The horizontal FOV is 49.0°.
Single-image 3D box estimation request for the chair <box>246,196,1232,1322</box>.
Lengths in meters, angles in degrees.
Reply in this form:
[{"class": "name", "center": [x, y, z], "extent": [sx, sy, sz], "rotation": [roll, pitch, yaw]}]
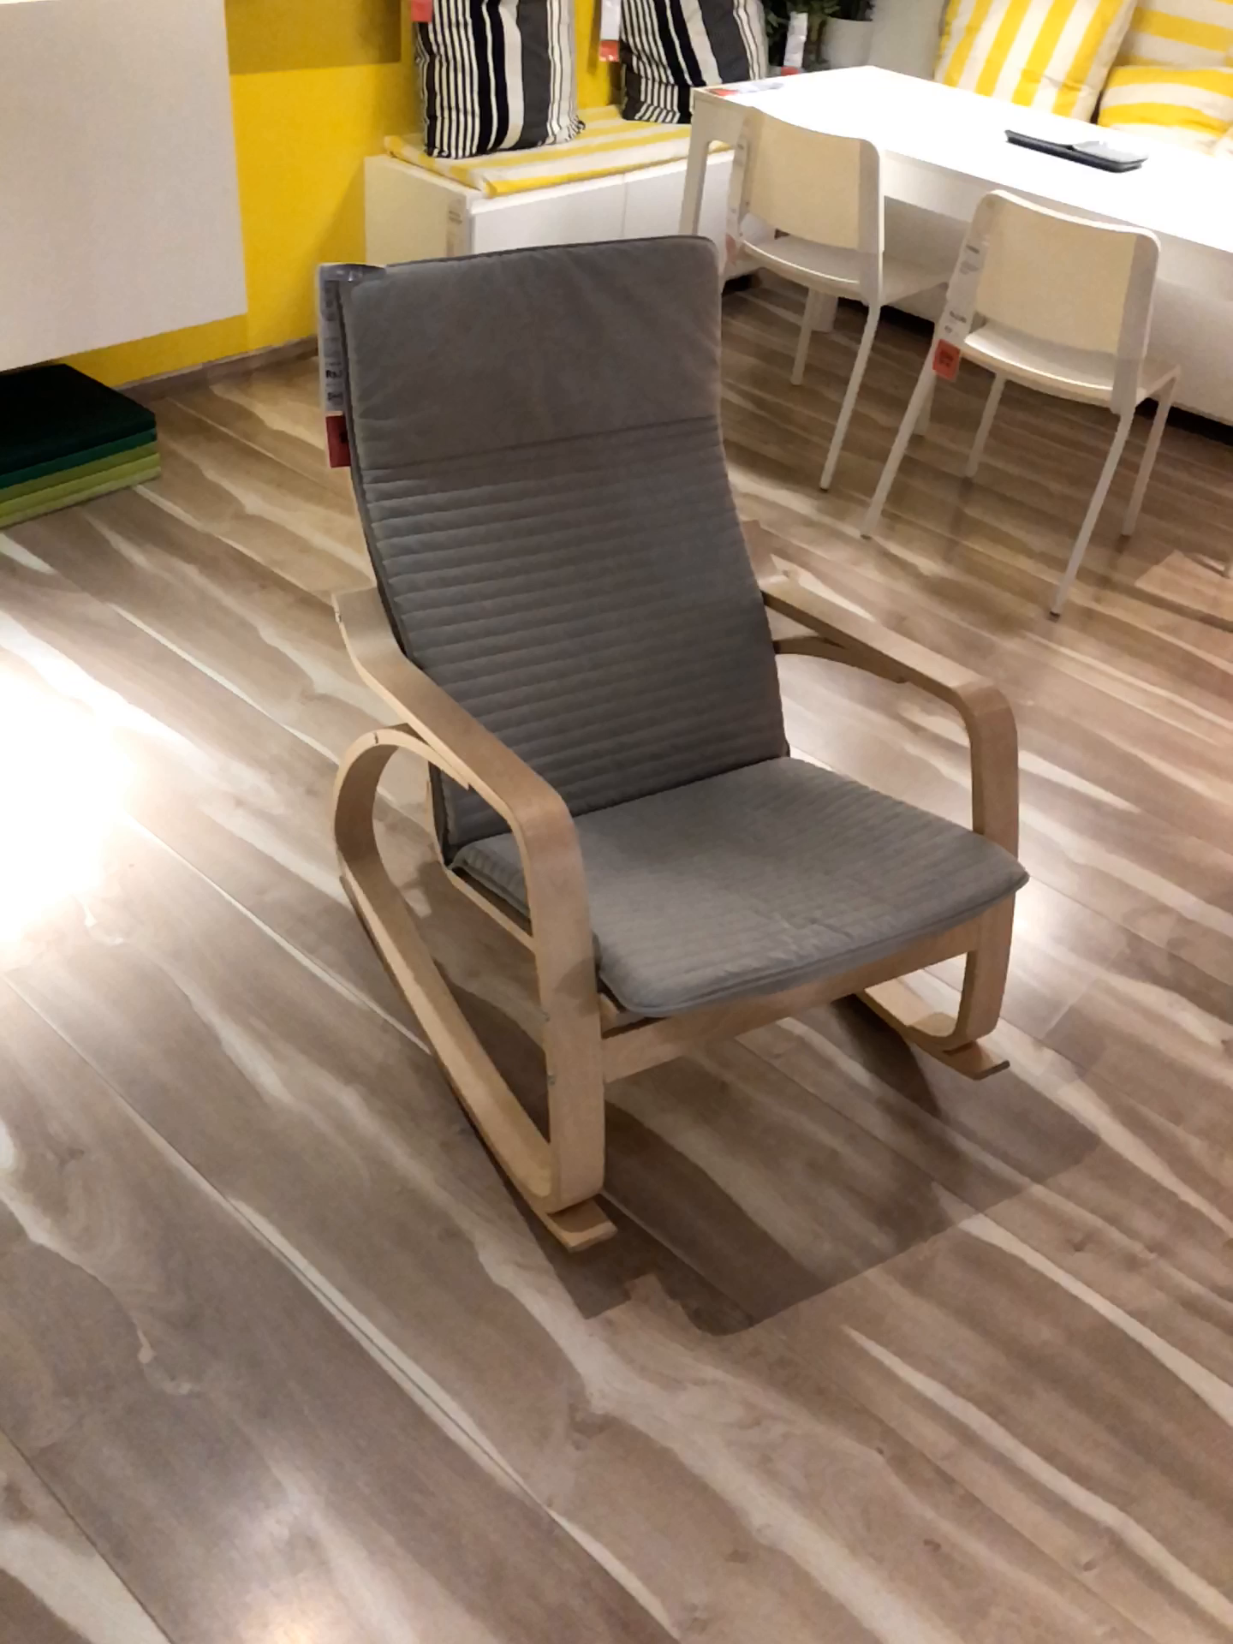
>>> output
[{"class": "chair", "center": [0.082, -0.115, 1.588], "extent": [0.752, 0.944, 0.703], "rotation": [-16, 44, -26]}]
